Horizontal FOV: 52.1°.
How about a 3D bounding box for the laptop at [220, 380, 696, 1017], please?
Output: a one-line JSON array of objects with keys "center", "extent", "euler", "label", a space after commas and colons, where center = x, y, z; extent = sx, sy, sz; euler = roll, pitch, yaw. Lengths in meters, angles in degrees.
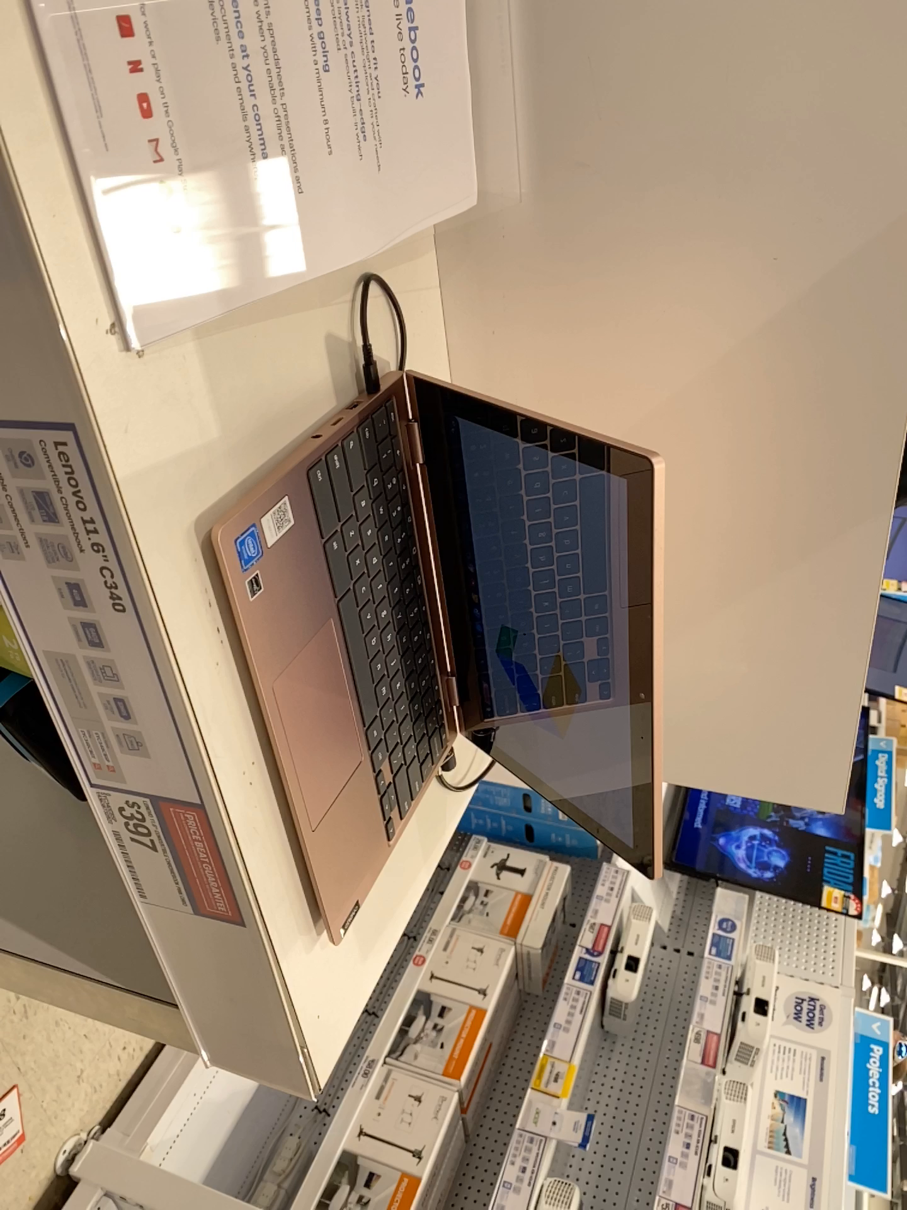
[{"center": [0.030, 0.043, 0.523], "extent": [0.196, 0.168, 0.281], "euler": [-56, 146, -49], "label": "laptop"}]
